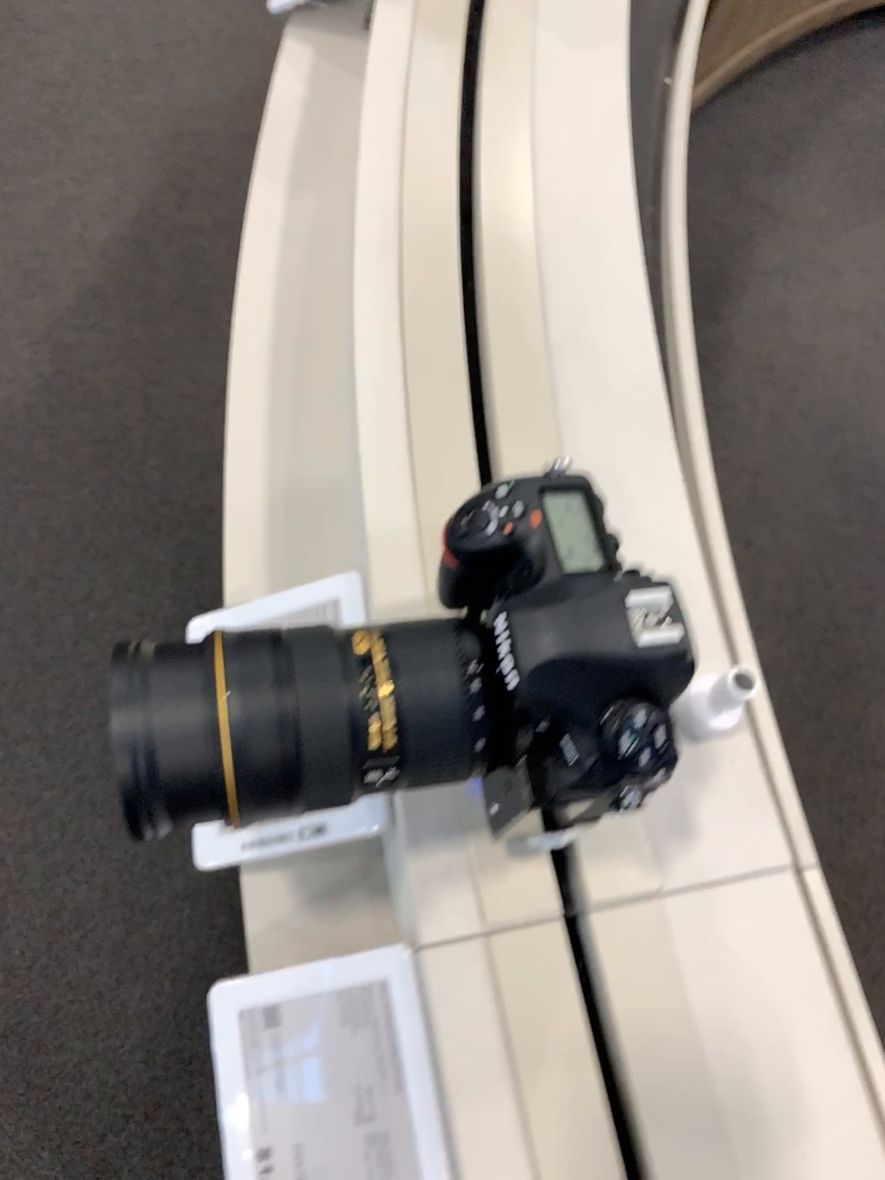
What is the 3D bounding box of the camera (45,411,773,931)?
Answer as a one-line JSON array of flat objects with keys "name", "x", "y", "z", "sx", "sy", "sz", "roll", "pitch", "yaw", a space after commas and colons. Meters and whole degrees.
[{"name": "camera", "x": -0.022, "y": 0.031, "z": 0.378, "sx": 0.240, "sy": 0.110, "sz": 0.160, "roll": -6, "pitch": 68, "yaw": -13}]
